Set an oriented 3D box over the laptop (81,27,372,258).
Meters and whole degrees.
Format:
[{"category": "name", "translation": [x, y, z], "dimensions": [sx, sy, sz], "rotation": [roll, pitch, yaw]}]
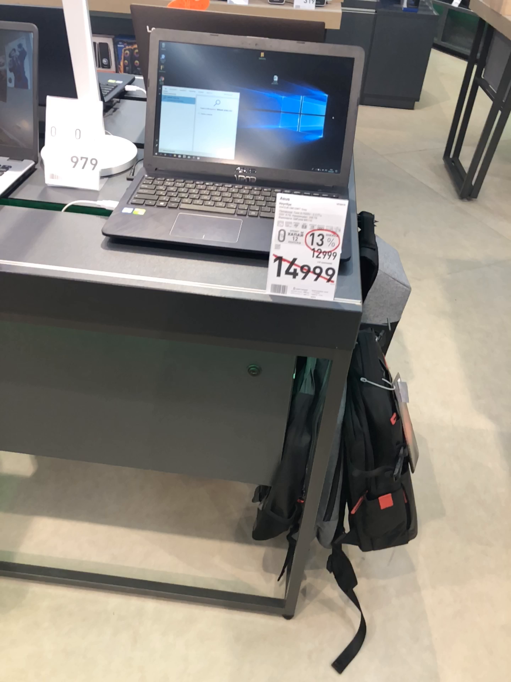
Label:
[{"category": "laptop", "translation": [-0.029, -0.348, 0.931], "dimensions": [0.380, 0.209, 0.372], "rotation": [6, 40, 3]}]
